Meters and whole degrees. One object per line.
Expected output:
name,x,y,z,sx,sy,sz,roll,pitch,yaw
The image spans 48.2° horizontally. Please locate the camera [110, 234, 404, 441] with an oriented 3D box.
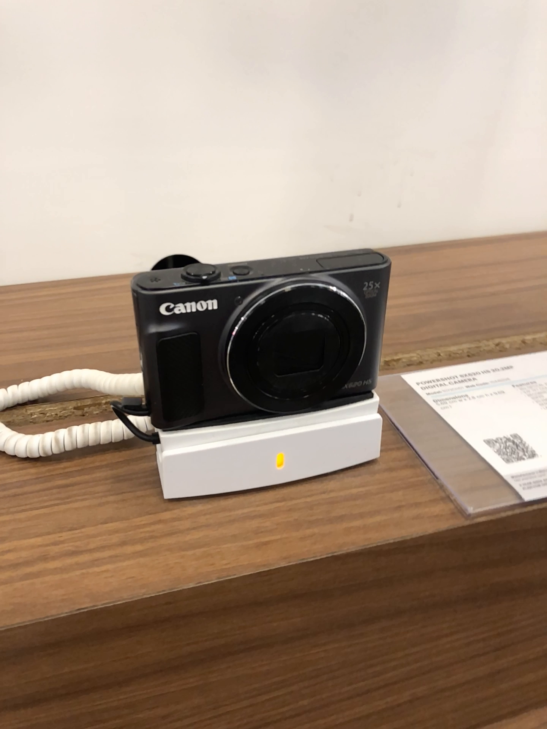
camera,-0.006,-0.012,0.230,0.100,0.060,0.030,-7,28,-13
